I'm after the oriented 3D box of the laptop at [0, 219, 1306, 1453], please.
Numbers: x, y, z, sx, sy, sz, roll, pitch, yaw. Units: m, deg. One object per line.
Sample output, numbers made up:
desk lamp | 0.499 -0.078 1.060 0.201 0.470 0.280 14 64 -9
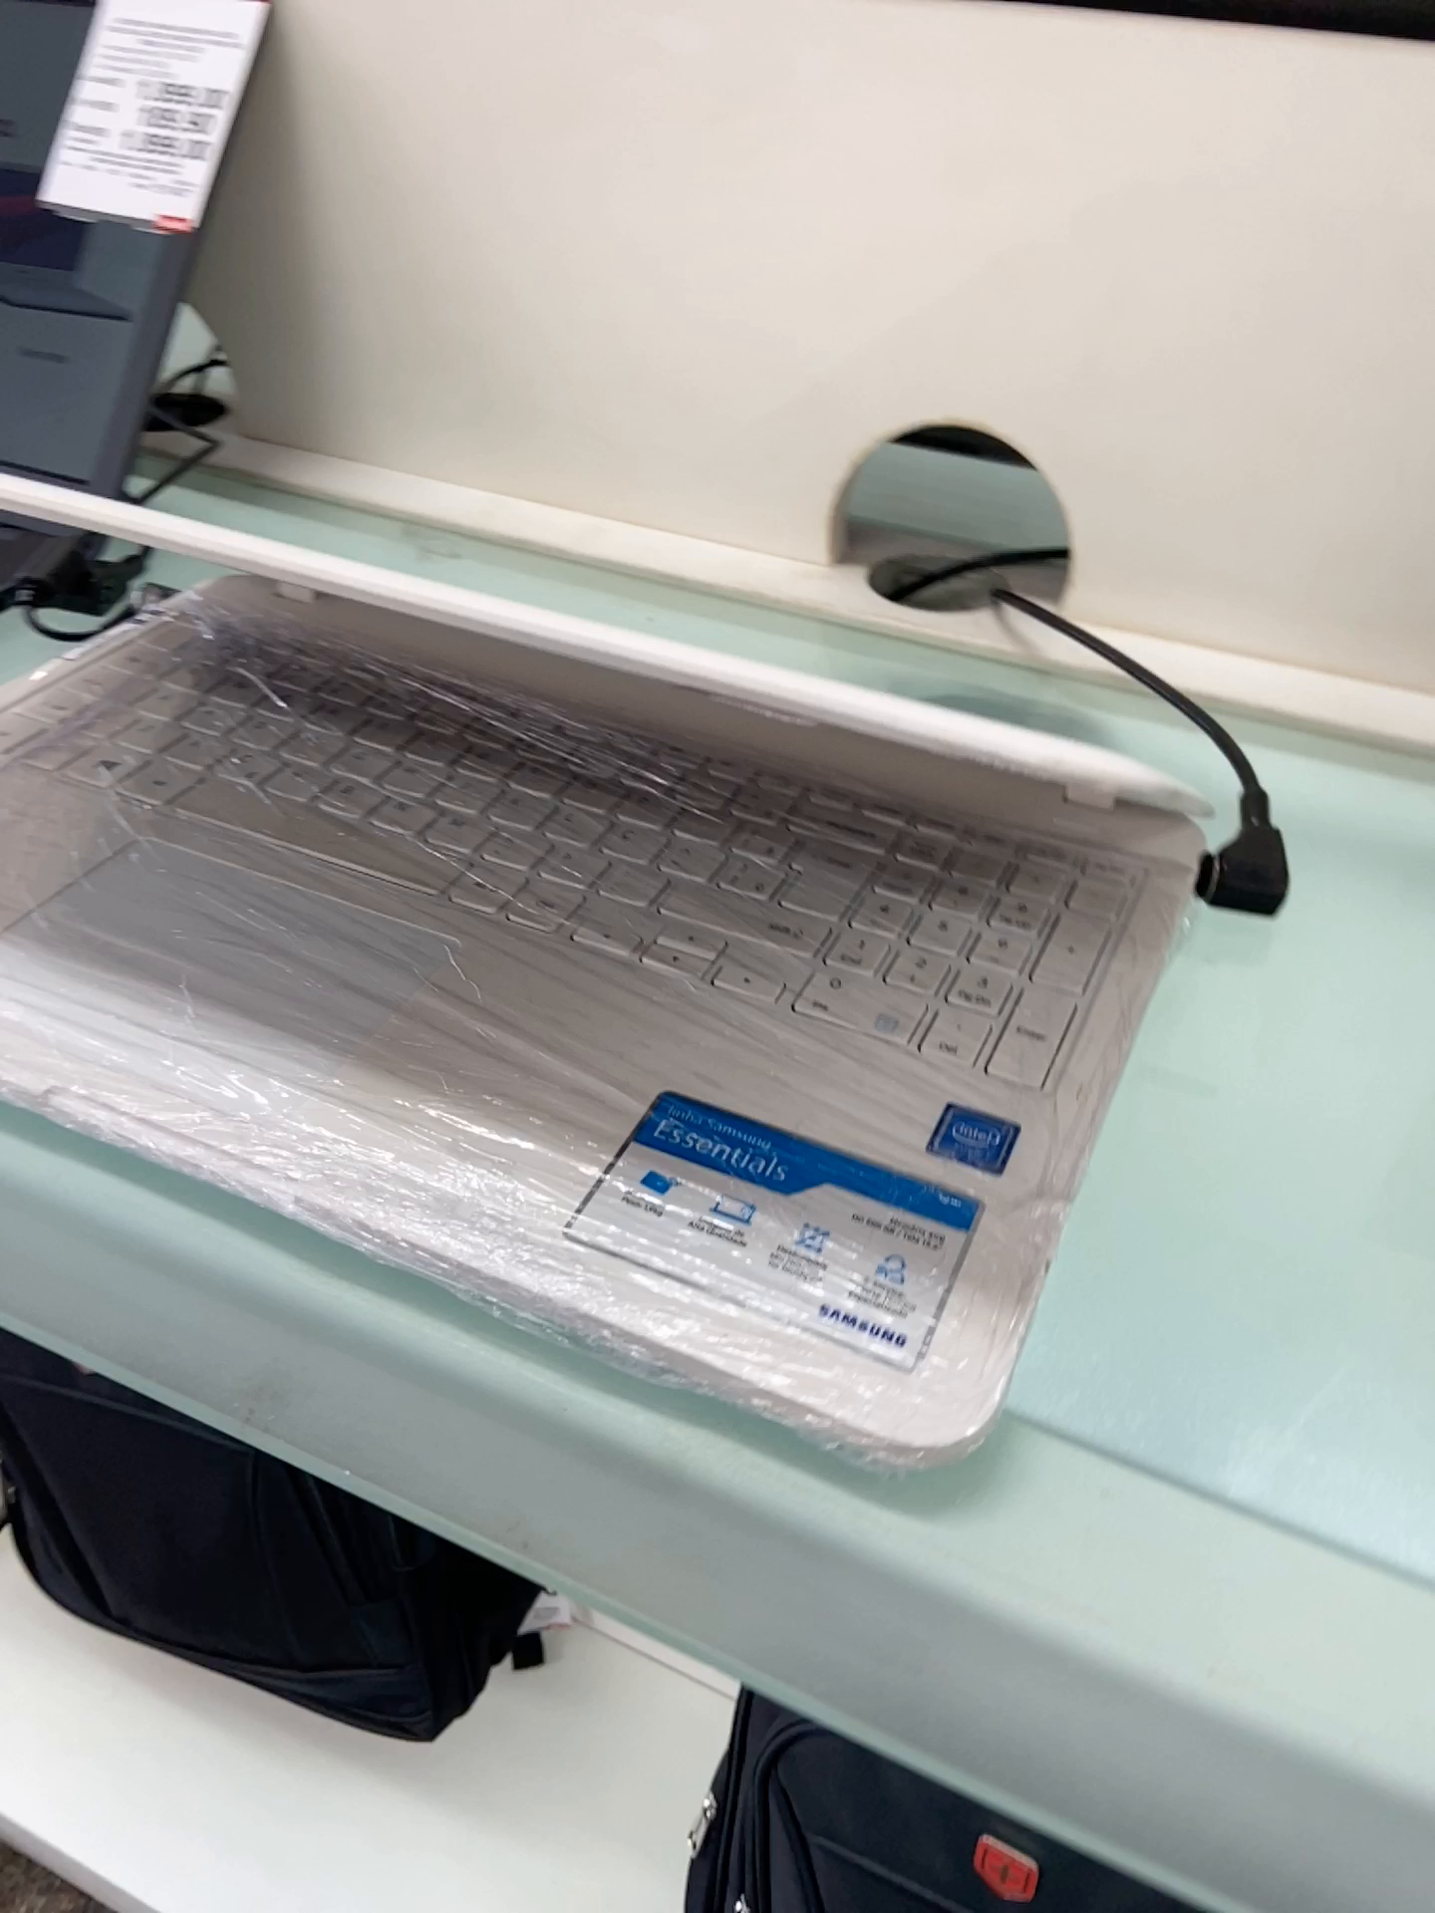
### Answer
laptop | -0.073 -0.077 0.384 0.372 0.129 0.248 17 40 18
